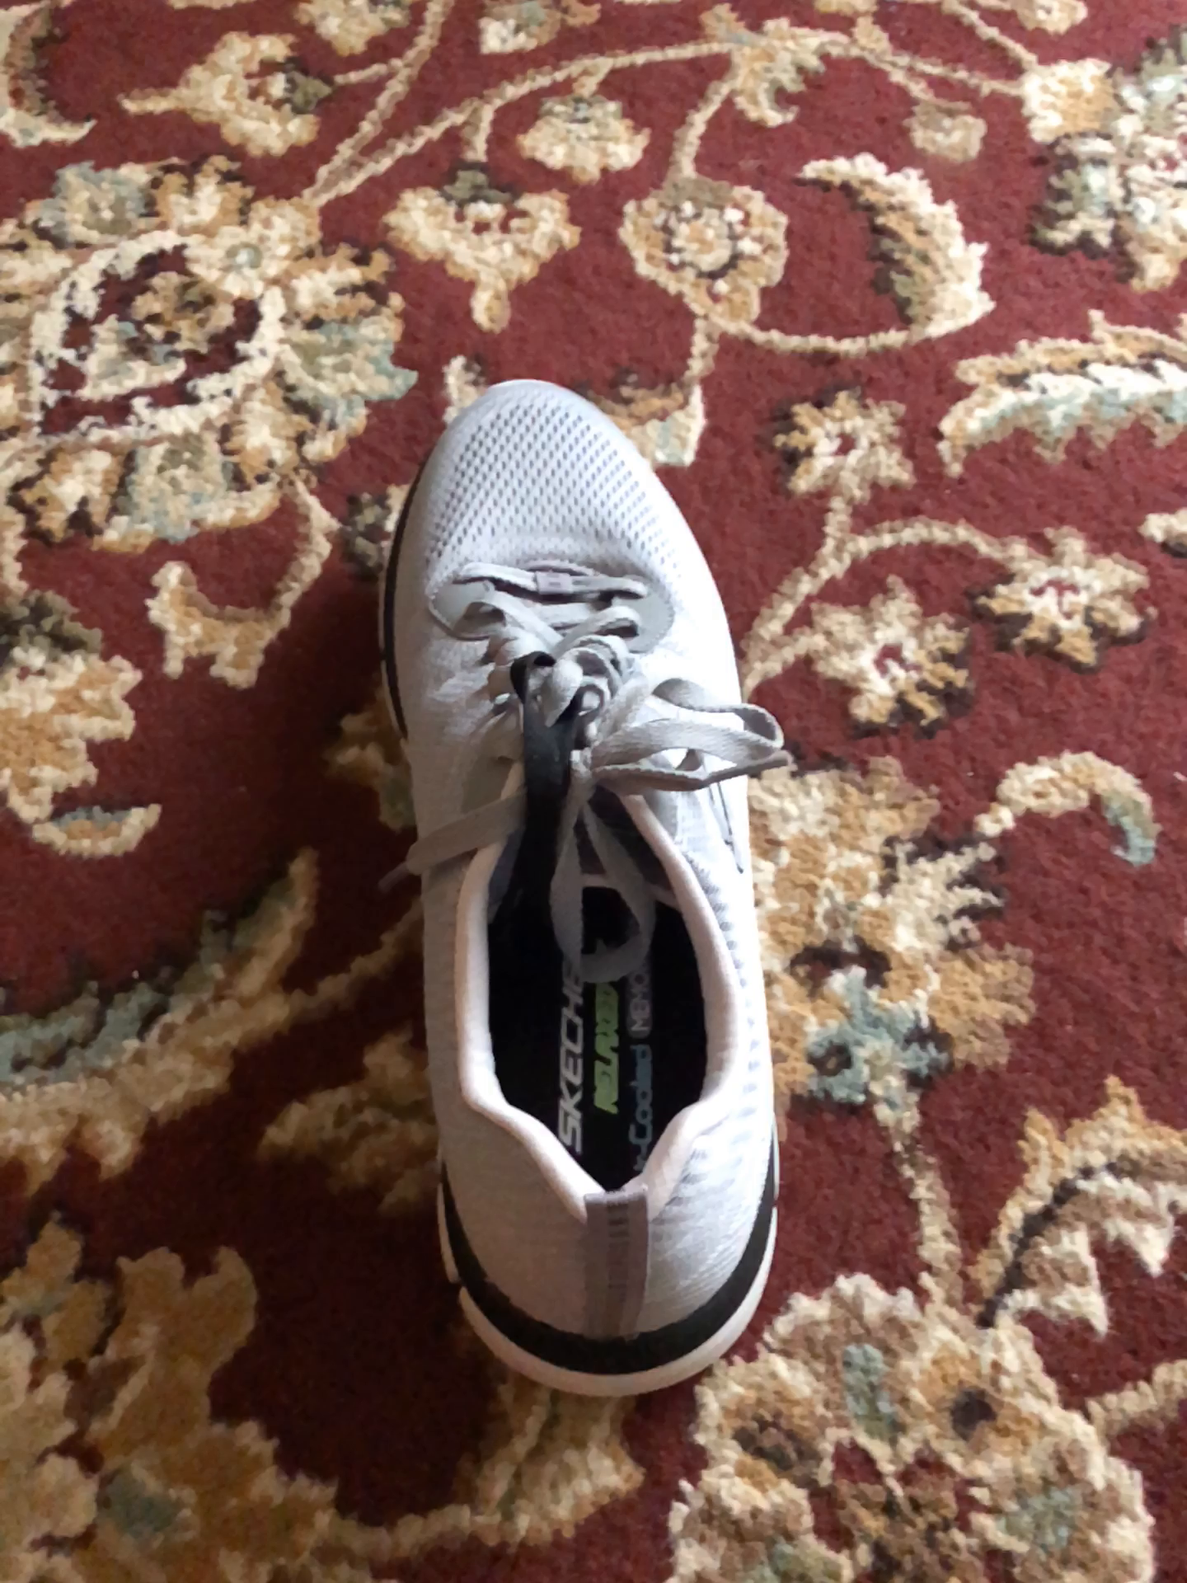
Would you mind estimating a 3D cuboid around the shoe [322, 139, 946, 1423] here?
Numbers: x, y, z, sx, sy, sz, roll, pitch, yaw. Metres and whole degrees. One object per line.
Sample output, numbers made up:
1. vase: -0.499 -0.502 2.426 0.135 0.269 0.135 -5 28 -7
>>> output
1. shoe: -0.005 -0.011 0.339 0.100 0.130 0.300 -3 61 -3
